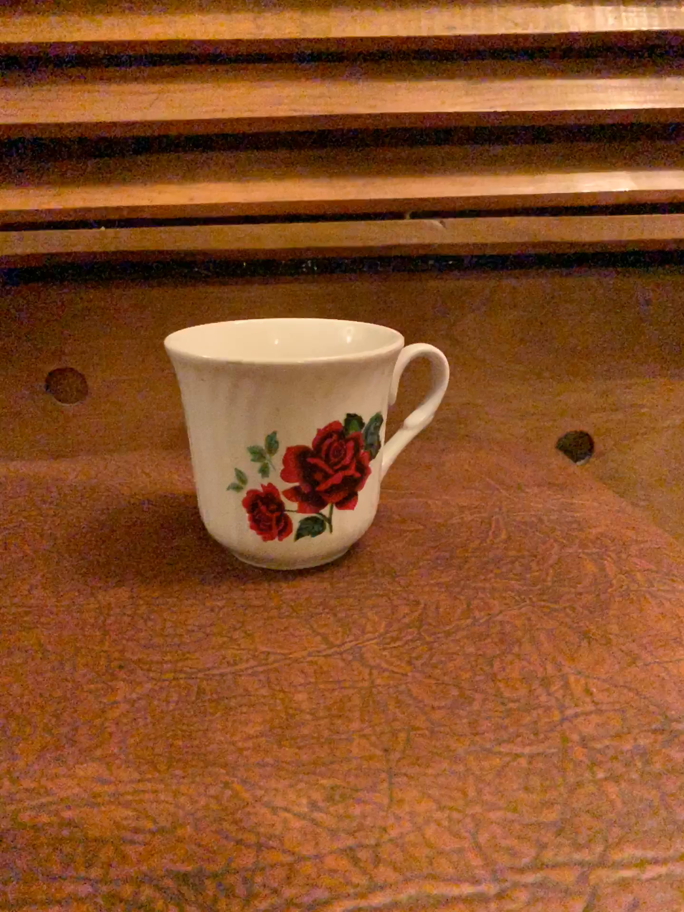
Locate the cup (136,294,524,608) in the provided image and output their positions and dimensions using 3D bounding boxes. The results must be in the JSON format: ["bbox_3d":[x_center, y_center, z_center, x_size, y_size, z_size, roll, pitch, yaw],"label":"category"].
[{"bbox_3d":[-0.005,-0.013,0.265,0.112,0.082,0.085,-11,19,-29],"label":"cup"}]
